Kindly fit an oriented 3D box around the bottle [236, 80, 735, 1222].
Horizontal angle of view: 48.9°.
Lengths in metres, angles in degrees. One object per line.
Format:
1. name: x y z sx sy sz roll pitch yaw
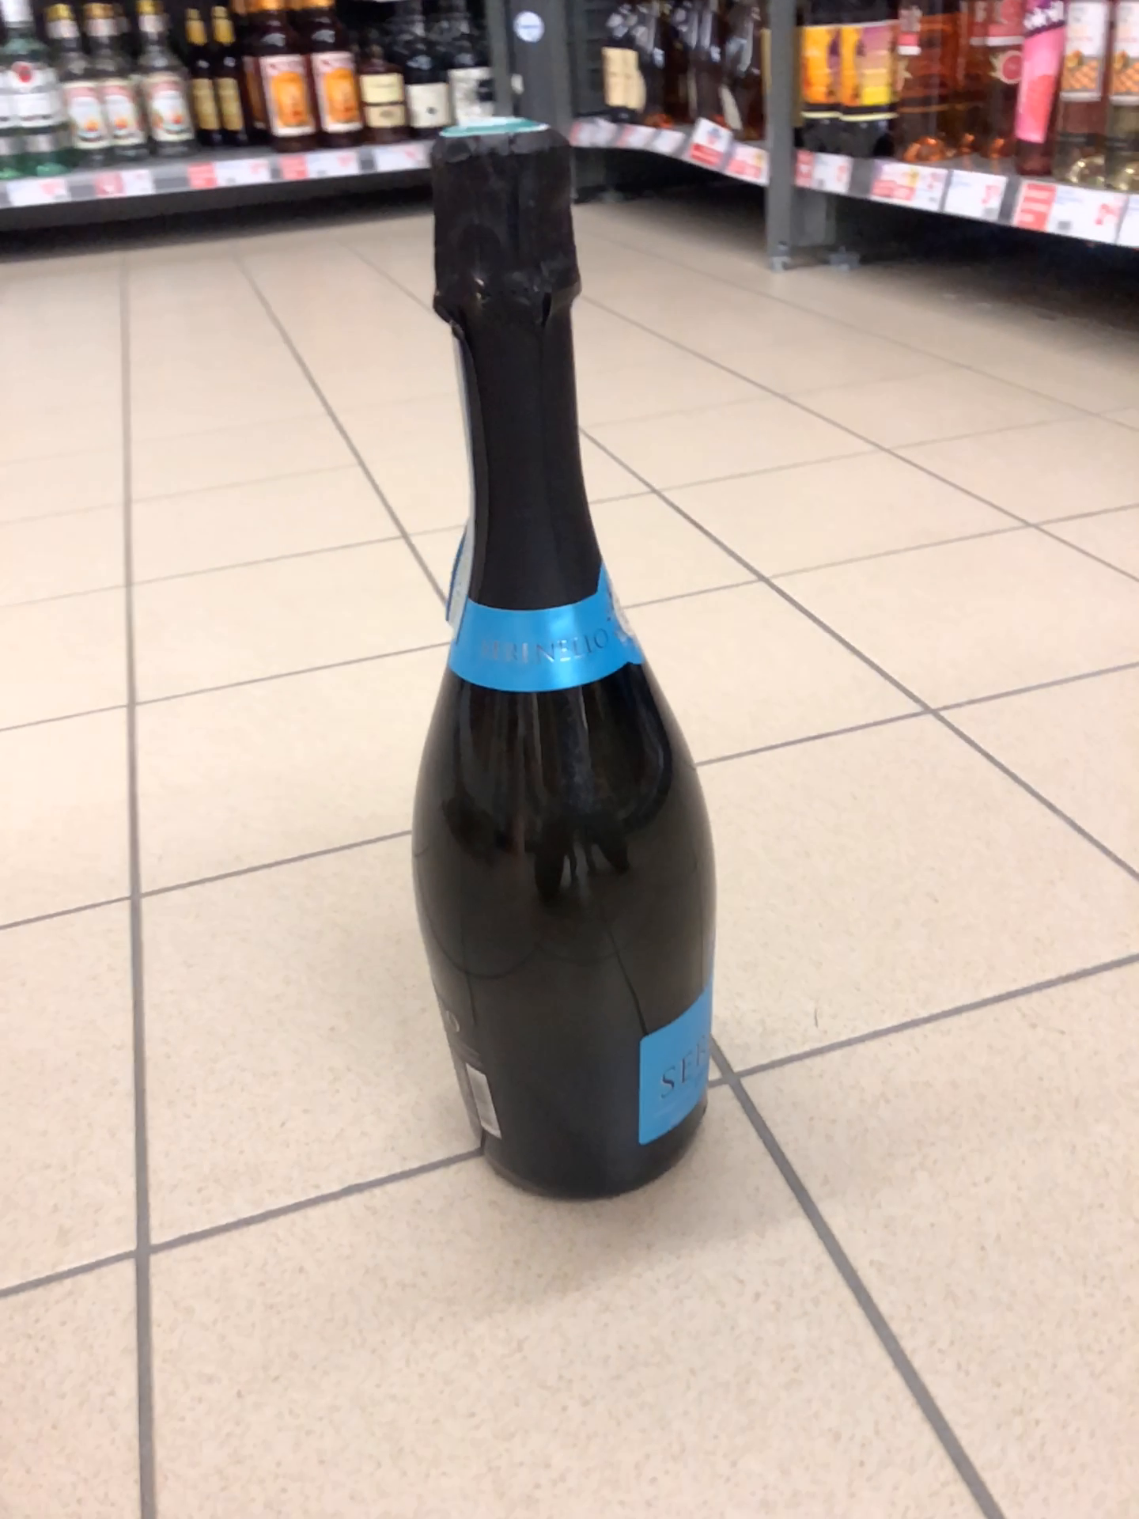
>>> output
1. bottle: -0.006 -0.016 0.351 0.090 0.298 0.101 -4 30 2
